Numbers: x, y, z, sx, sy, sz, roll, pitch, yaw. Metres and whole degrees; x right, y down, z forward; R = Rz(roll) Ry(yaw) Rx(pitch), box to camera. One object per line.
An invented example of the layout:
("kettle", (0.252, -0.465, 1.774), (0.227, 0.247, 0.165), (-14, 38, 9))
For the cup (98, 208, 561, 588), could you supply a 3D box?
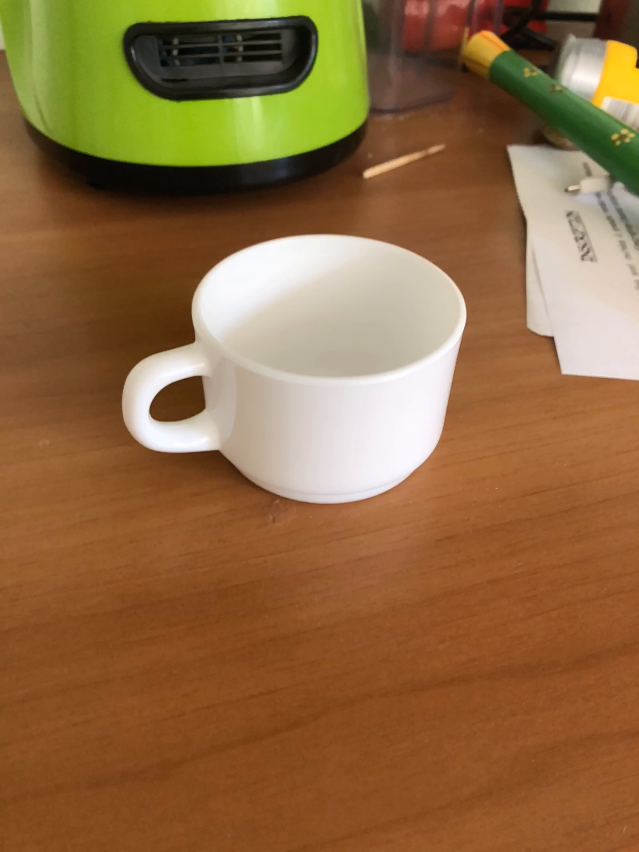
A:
("cup", (-0.001, -0.015, 0.209), (0.100, 0.050, 0.080), (-16, 45, -19))
